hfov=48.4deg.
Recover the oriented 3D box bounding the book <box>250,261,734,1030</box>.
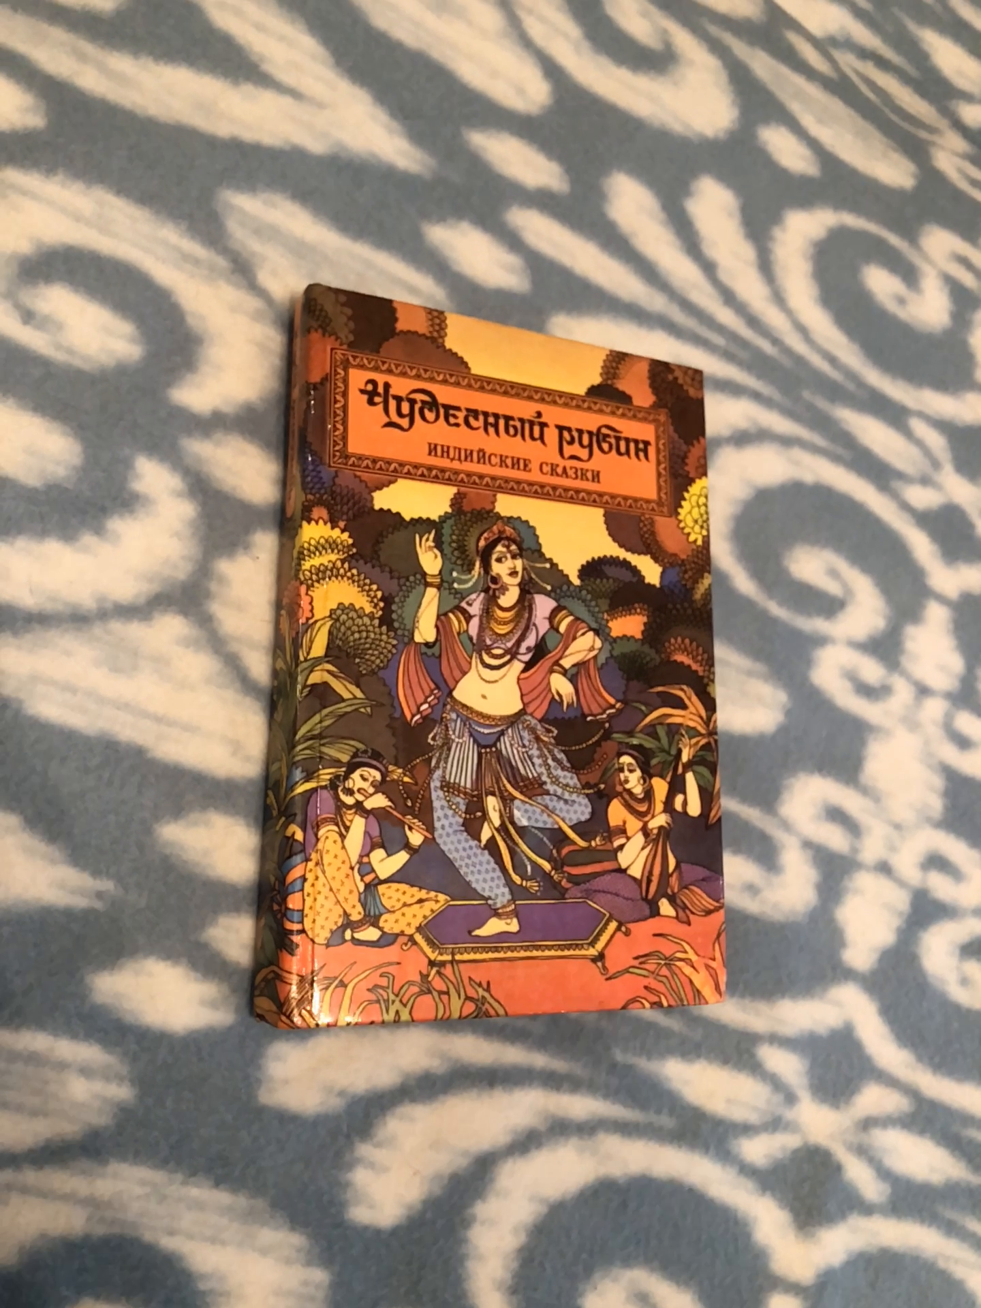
[{"bbox_3d":[0.005,-0.001,0.332,0.140,0.027,0.210,6,78,-23],"label":"book"}]
